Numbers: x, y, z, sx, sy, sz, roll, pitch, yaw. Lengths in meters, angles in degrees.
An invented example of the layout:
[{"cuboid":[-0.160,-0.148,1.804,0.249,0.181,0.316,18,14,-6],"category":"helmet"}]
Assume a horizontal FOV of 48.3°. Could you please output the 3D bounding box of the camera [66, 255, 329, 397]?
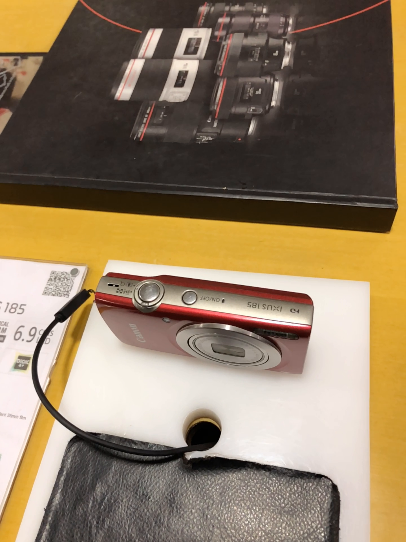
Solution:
[{"cuboid":[0.000,0.025,0.200,0.100,0.050,0.030,7,60,12],"category":"camera"}]
